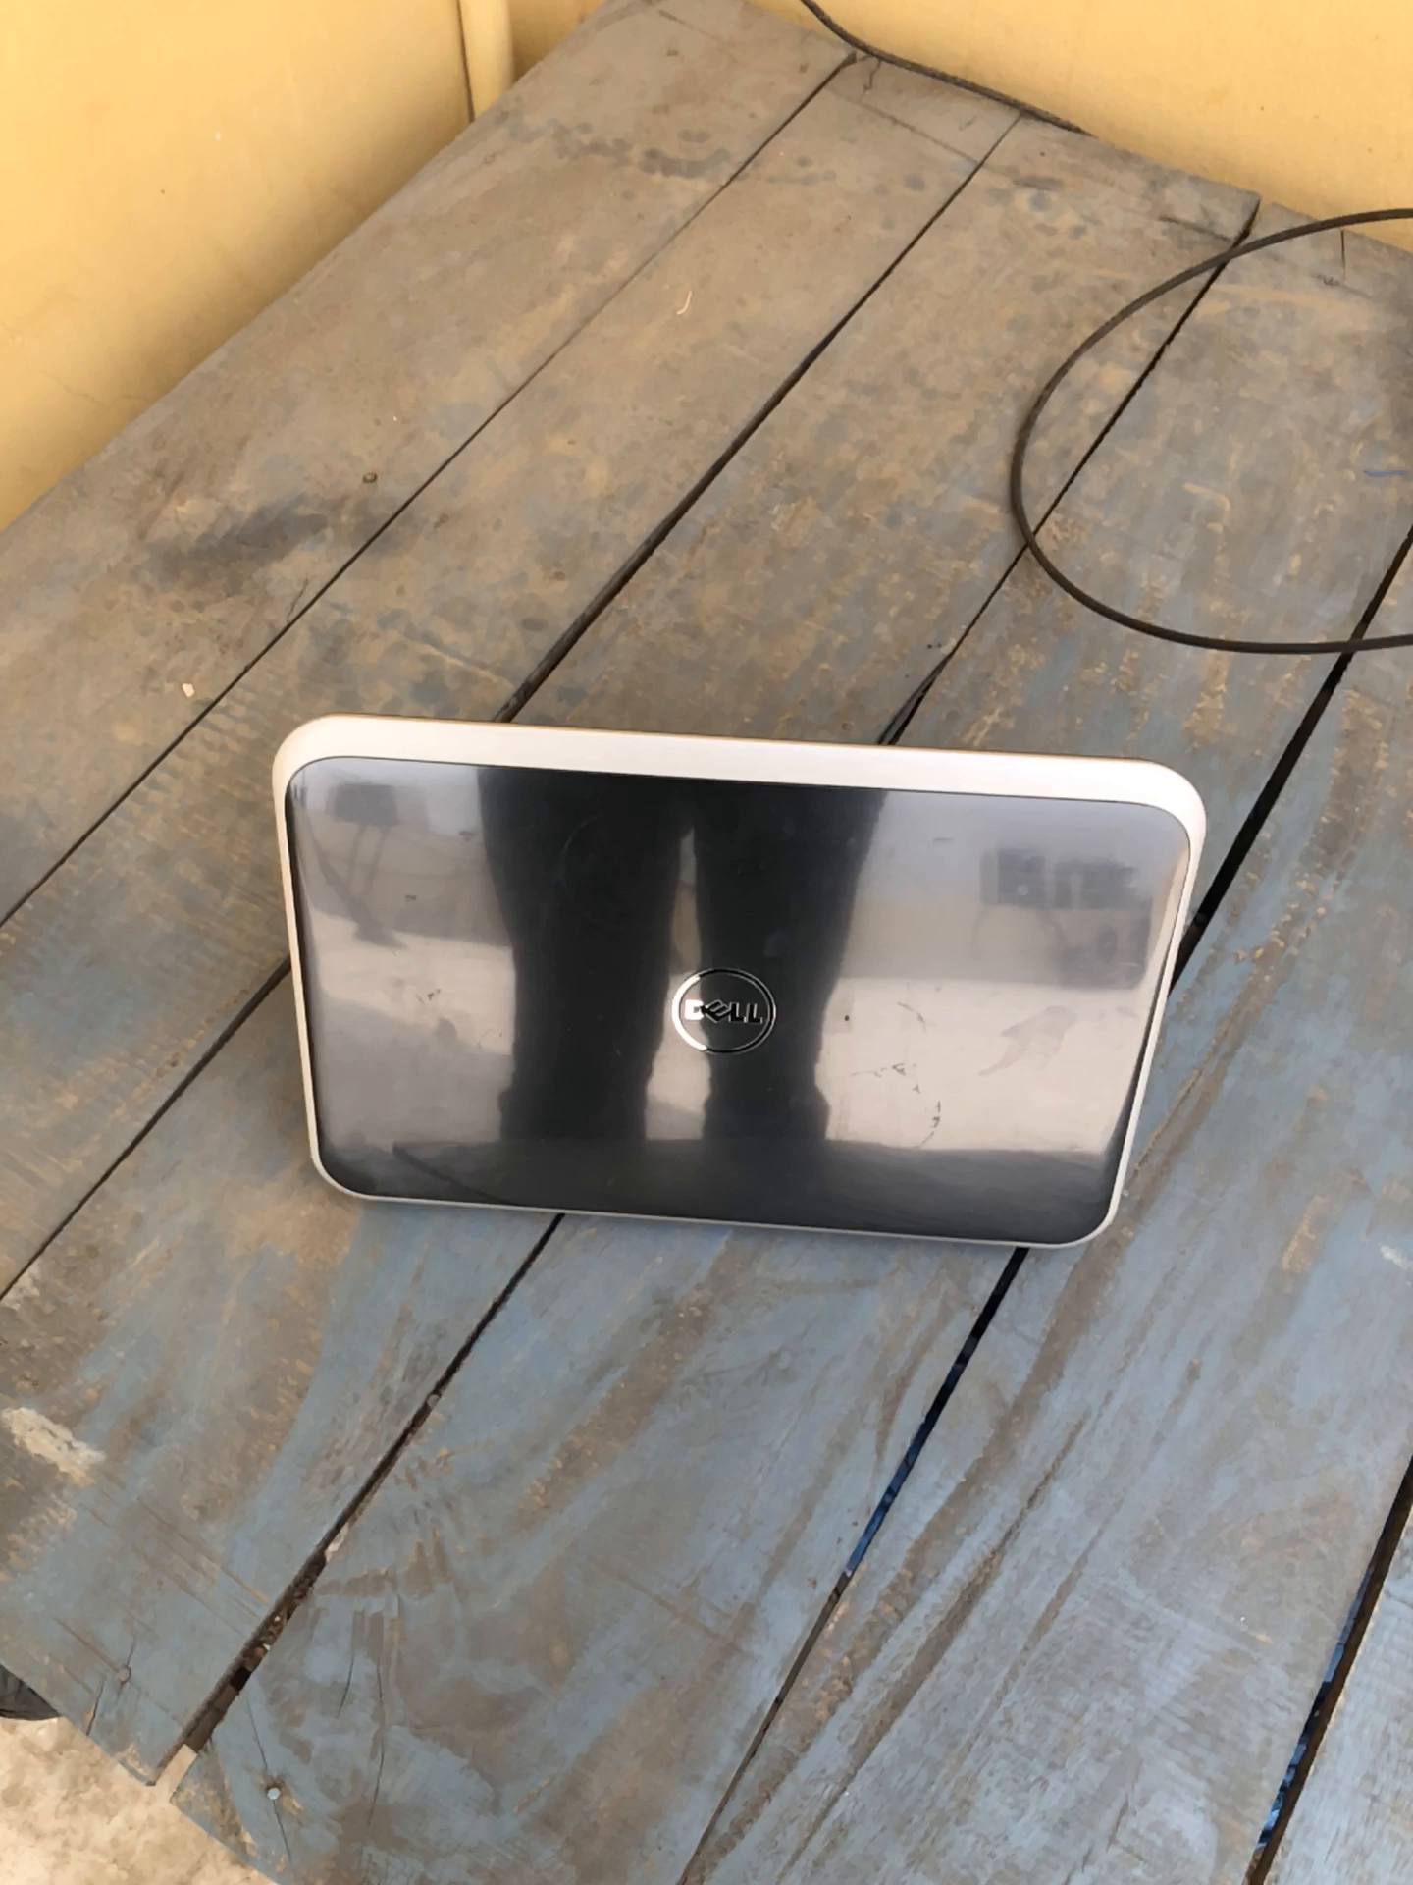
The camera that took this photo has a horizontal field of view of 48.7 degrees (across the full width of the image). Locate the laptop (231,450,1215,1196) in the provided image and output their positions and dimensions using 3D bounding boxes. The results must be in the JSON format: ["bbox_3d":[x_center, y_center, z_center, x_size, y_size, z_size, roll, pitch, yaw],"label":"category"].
[{"bbox_3d":[0.014,-0.044,0.685,0.347,0.207,0.216,4,62,2],"label":"laptop"}]
